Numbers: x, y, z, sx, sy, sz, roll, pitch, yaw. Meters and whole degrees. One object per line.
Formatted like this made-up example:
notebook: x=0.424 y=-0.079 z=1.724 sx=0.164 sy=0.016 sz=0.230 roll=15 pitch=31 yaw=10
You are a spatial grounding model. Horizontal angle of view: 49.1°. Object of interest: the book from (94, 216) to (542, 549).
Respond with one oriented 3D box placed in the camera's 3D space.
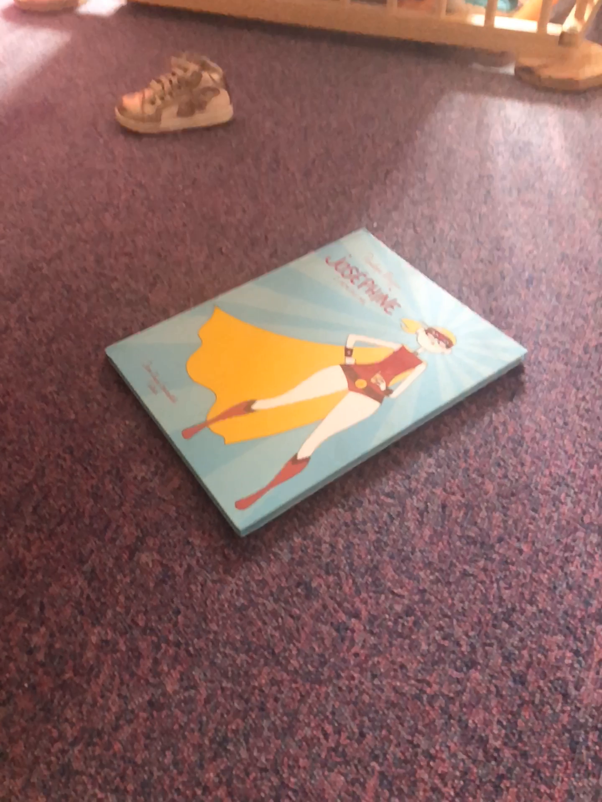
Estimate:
book: x=0.012 y=-0.044 z=0.575 sx=0.307 sy=0.020 sz=0.234 roll=-29 pitch=55 yaw=-21
